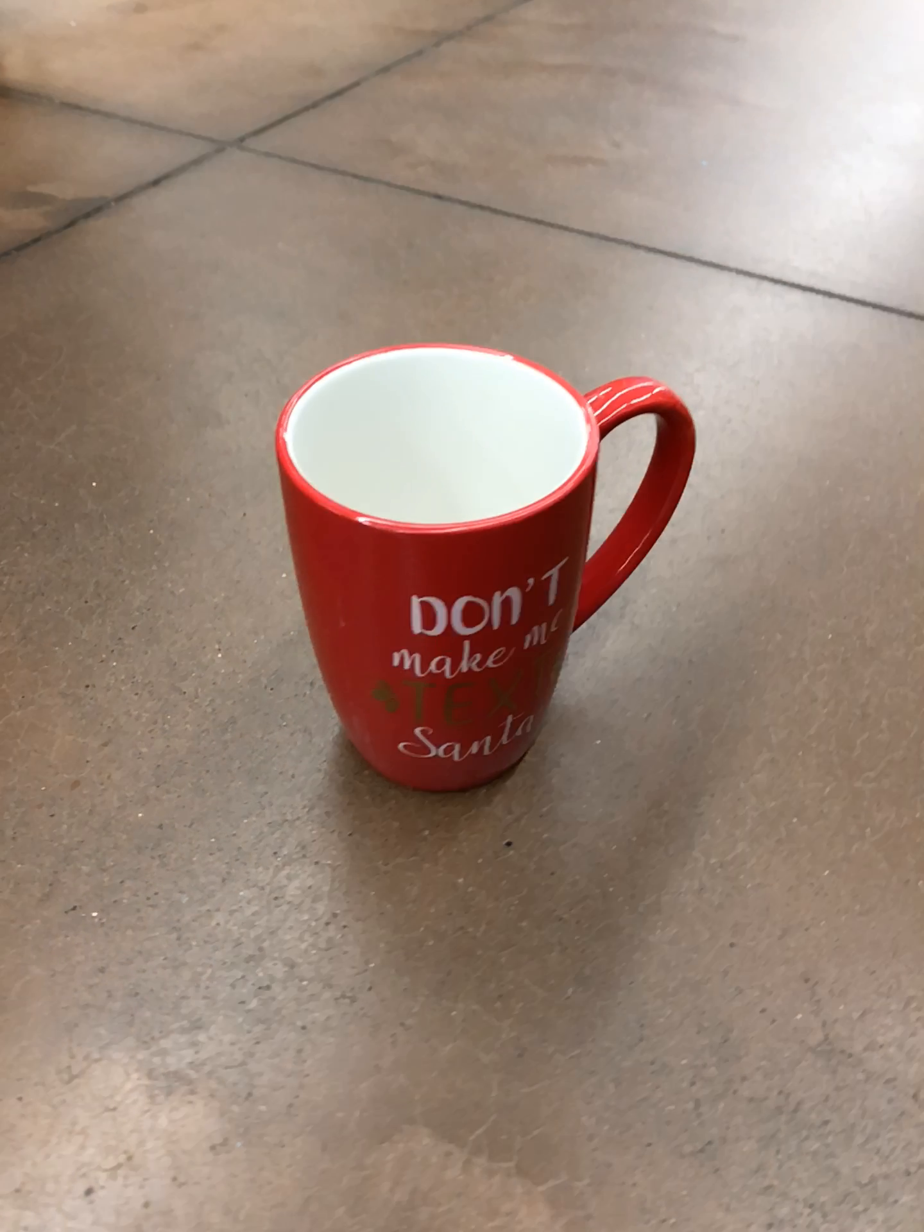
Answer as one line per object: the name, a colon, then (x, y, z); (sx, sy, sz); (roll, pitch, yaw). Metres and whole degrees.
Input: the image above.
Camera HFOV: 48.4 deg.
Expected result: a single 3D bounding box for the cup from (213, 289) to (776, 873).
cup: (0.006, -0.012, 0.330); (0.130, 0.130, 0.090); (-18, 47, -18)
